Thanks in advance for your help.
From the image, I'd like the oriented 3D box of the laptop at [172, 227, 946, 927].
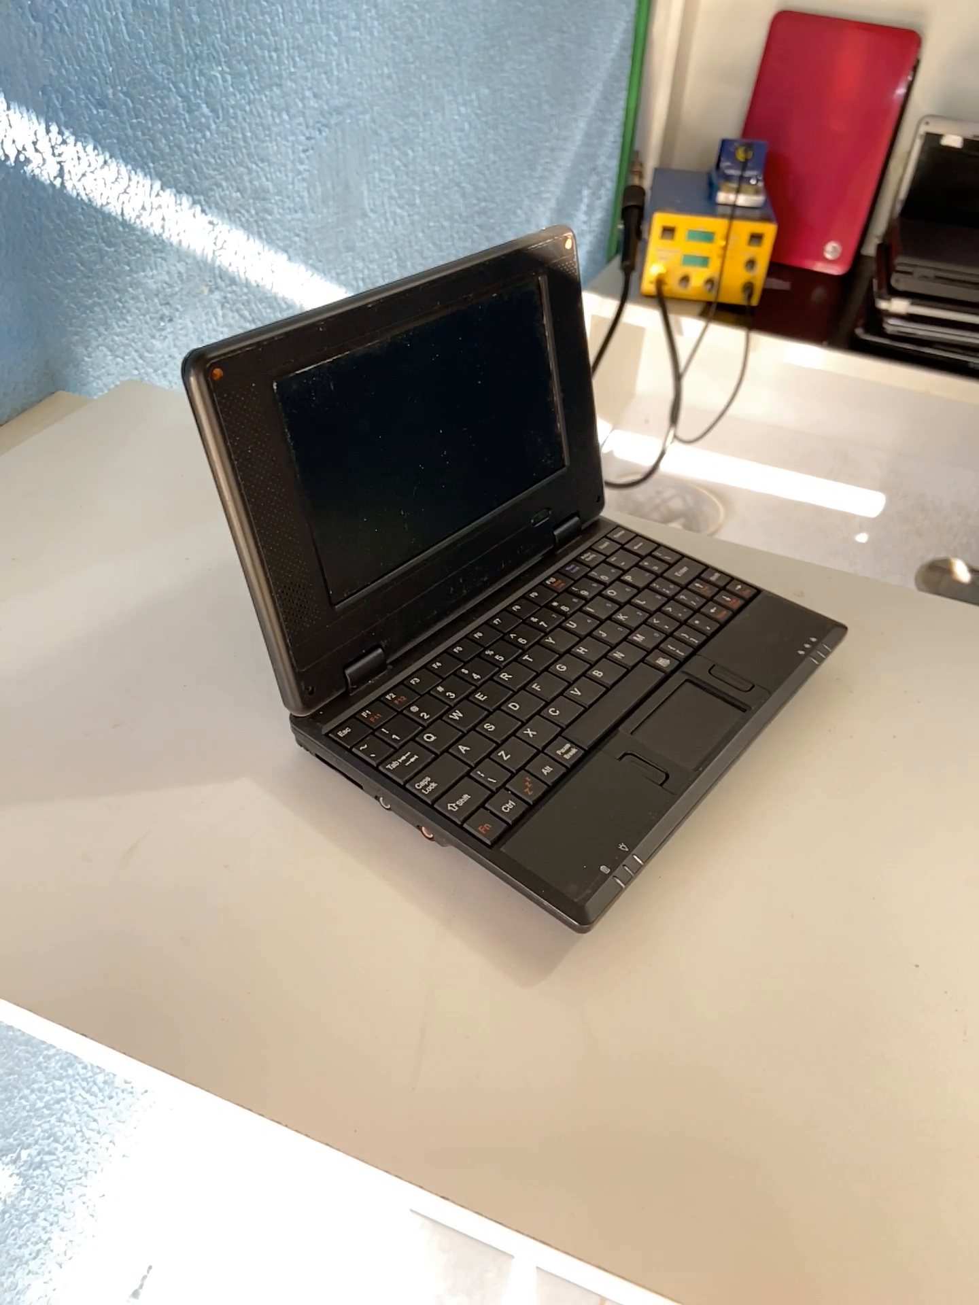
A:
[{"bbox_3d":[0.032,-0.052,0.397,0.179,0.137,0.217,30,45,26],"label":"laptop"}]
